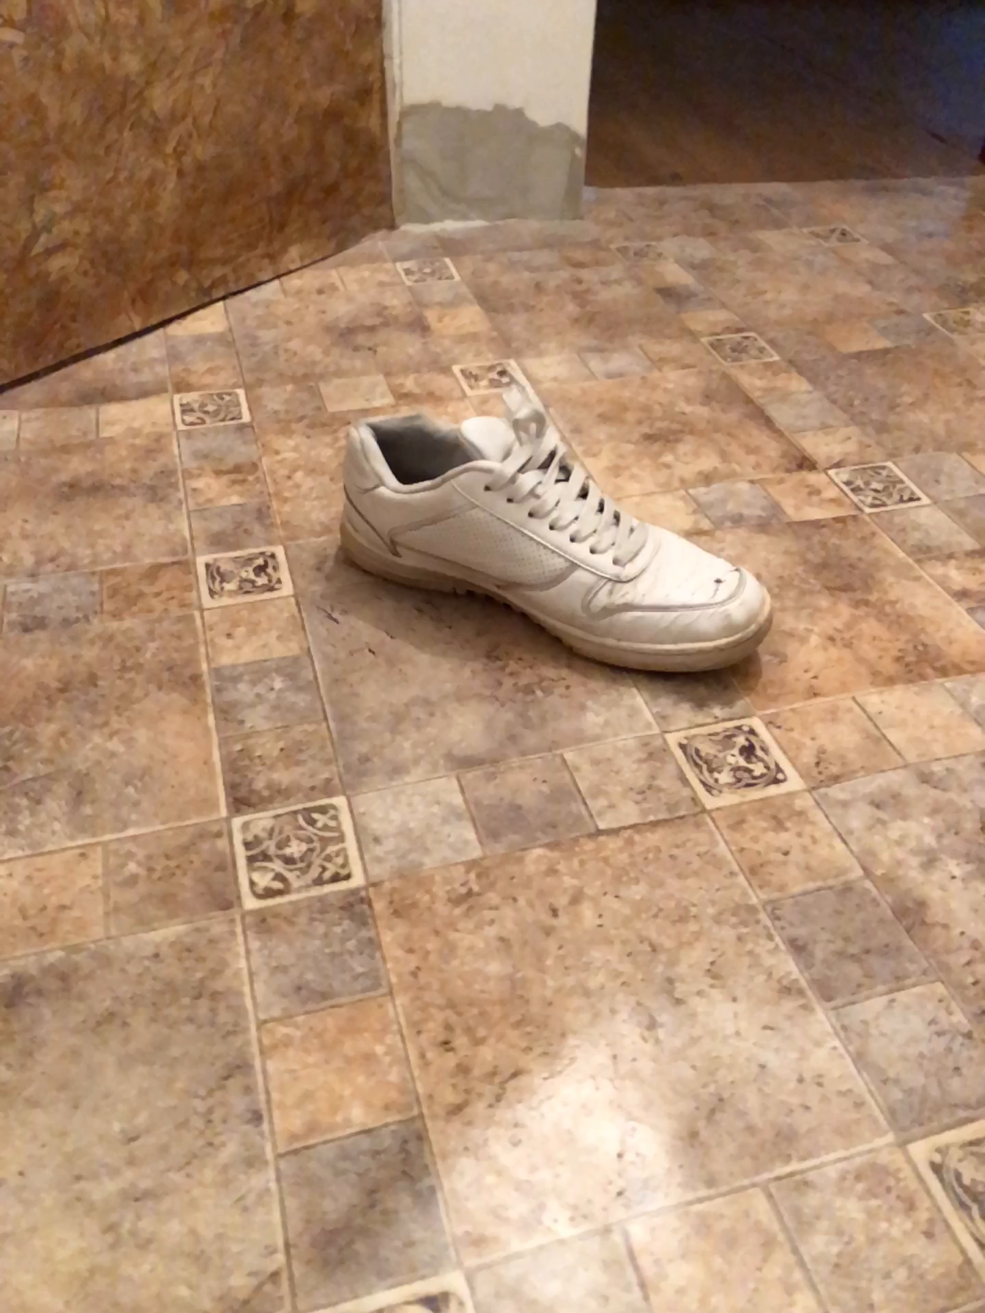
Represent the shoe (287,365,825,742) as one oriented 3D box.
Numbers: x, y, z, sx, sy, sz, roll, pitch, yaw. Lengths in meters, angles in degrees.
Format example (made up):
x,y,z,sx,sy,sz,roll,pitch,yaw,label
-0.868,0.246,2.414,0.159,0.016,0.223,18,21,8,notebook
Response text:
x,y,z,sx,sy,sz,roll,pitch,yaw,label
0.034,-0.072,0.647,0.280,0.109,0.123,19,42,20,shoe
